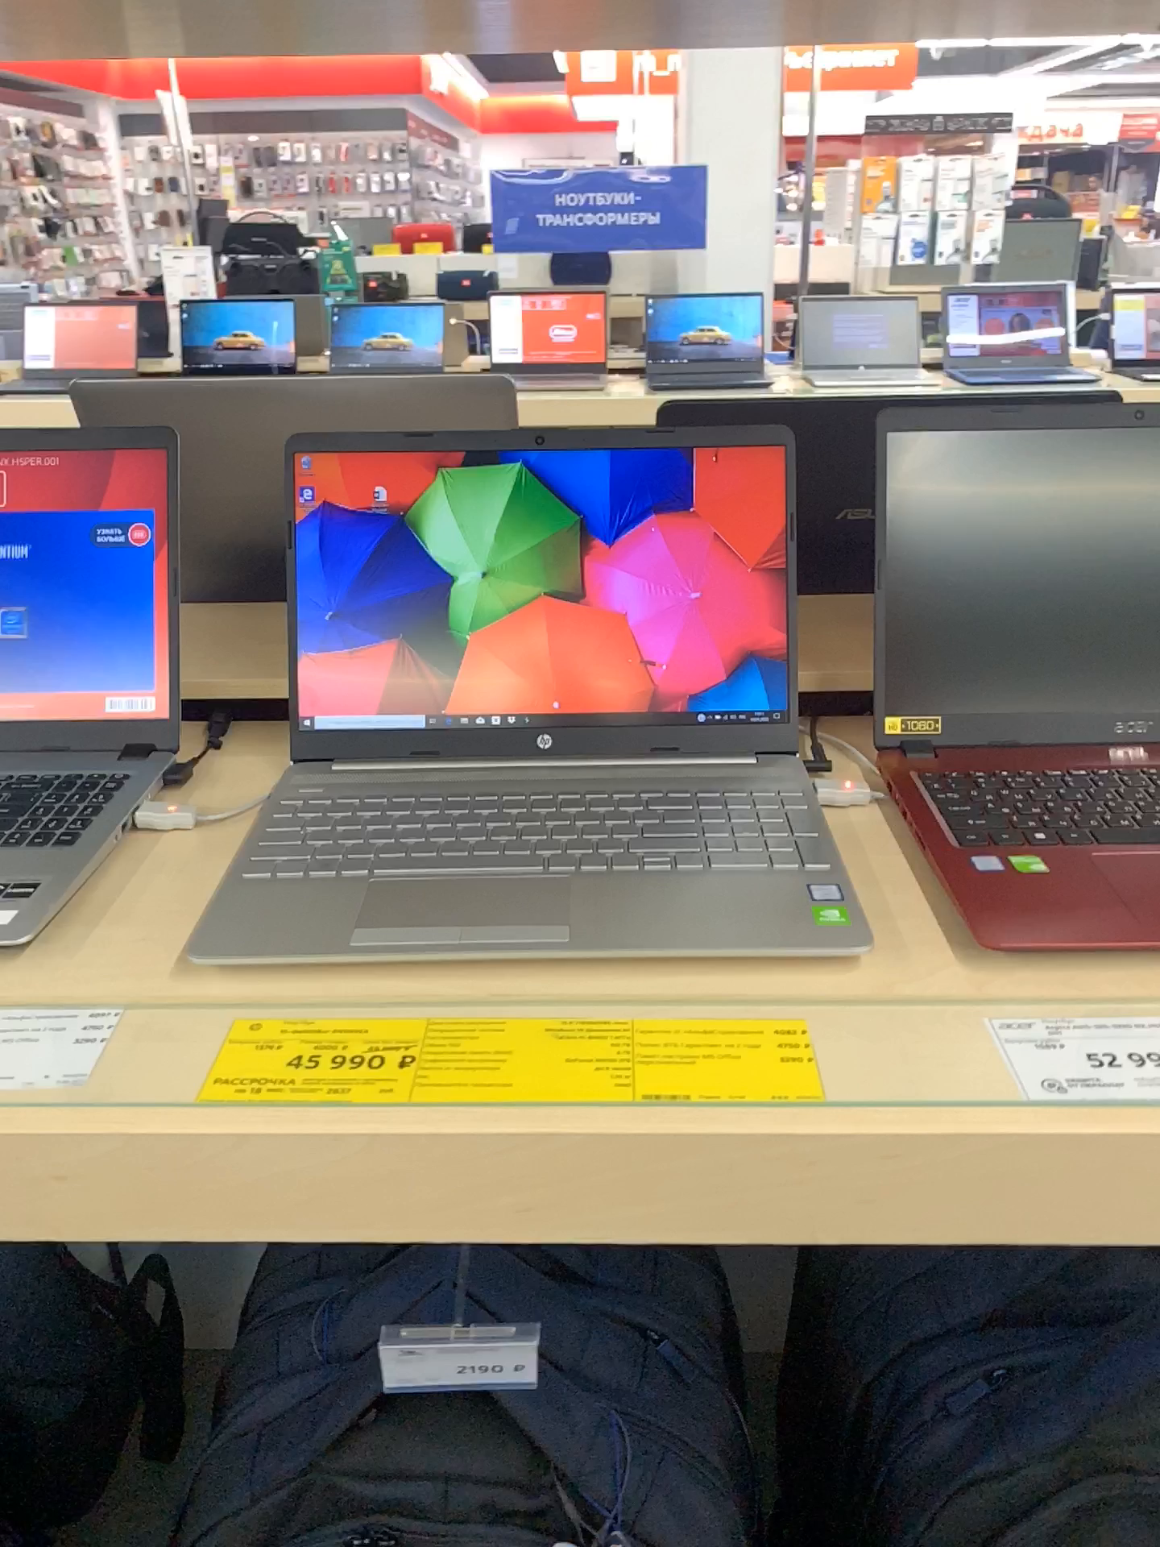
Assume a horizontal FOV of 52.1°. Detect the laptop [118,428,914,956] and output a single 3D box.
[{"bbox_3d":[-0.026,-0.075,0.734,0.359,0.209,0.349,-1,25,1],"label":"laptop"}]
